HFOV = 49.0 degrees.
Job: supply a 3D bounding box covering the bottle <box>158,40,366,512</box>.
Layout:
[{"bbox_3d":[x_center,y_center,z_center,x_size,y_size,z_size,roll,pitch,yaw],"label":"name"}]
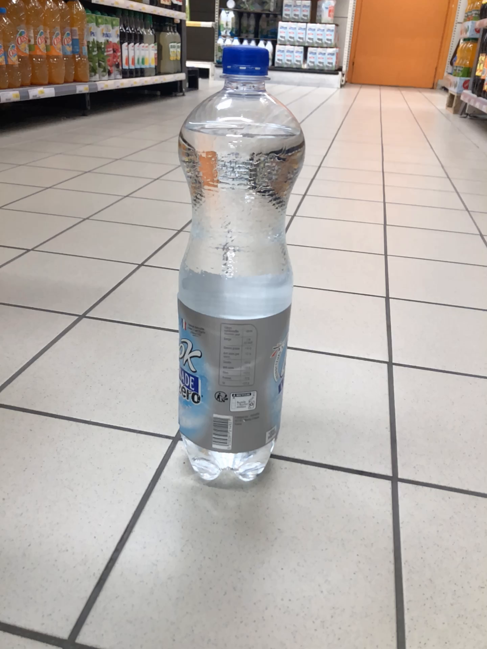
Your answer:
[{"bbox_3d":[-0.002,-0.028,0.408,0.100,0.328,0.100,3,26,-1],"label":"bottle"}]
